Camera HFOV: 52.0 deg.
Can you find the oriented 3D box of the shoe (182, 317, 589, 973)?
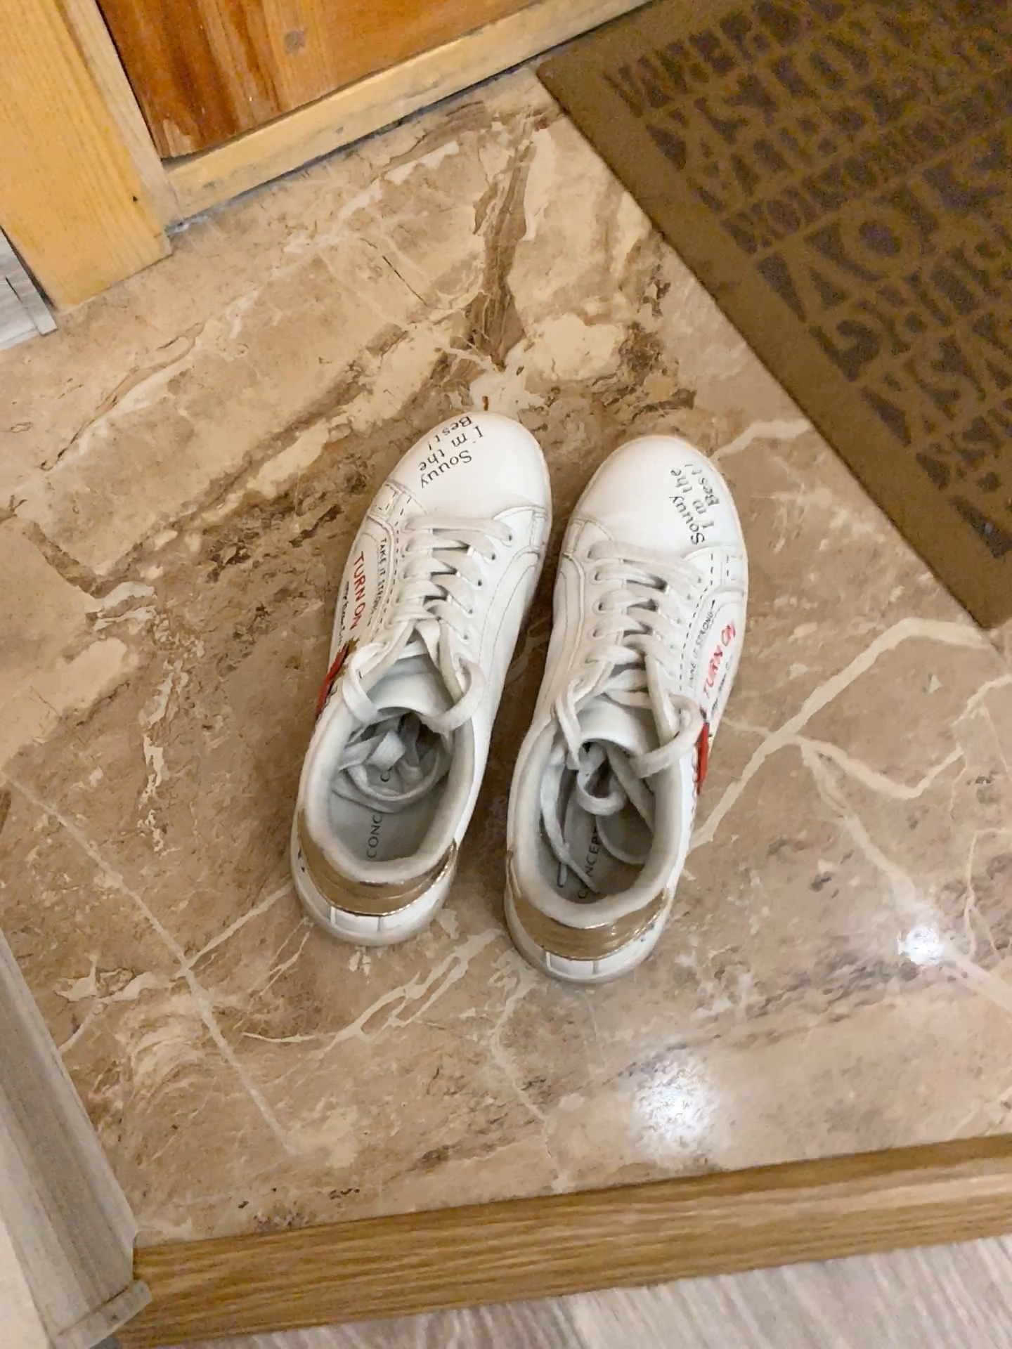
[{"bbox_3d":[-0.041,-0.014,0.446,0.092,0.080,0.256,13,73,4],"label":"shoe"}]

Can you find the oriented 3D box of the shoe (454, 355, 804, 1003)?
[{"bbox_3d":[0.055,0.001,0.451,0.092,0.080,0.256,12,73,4],"label":"shoe"}]
